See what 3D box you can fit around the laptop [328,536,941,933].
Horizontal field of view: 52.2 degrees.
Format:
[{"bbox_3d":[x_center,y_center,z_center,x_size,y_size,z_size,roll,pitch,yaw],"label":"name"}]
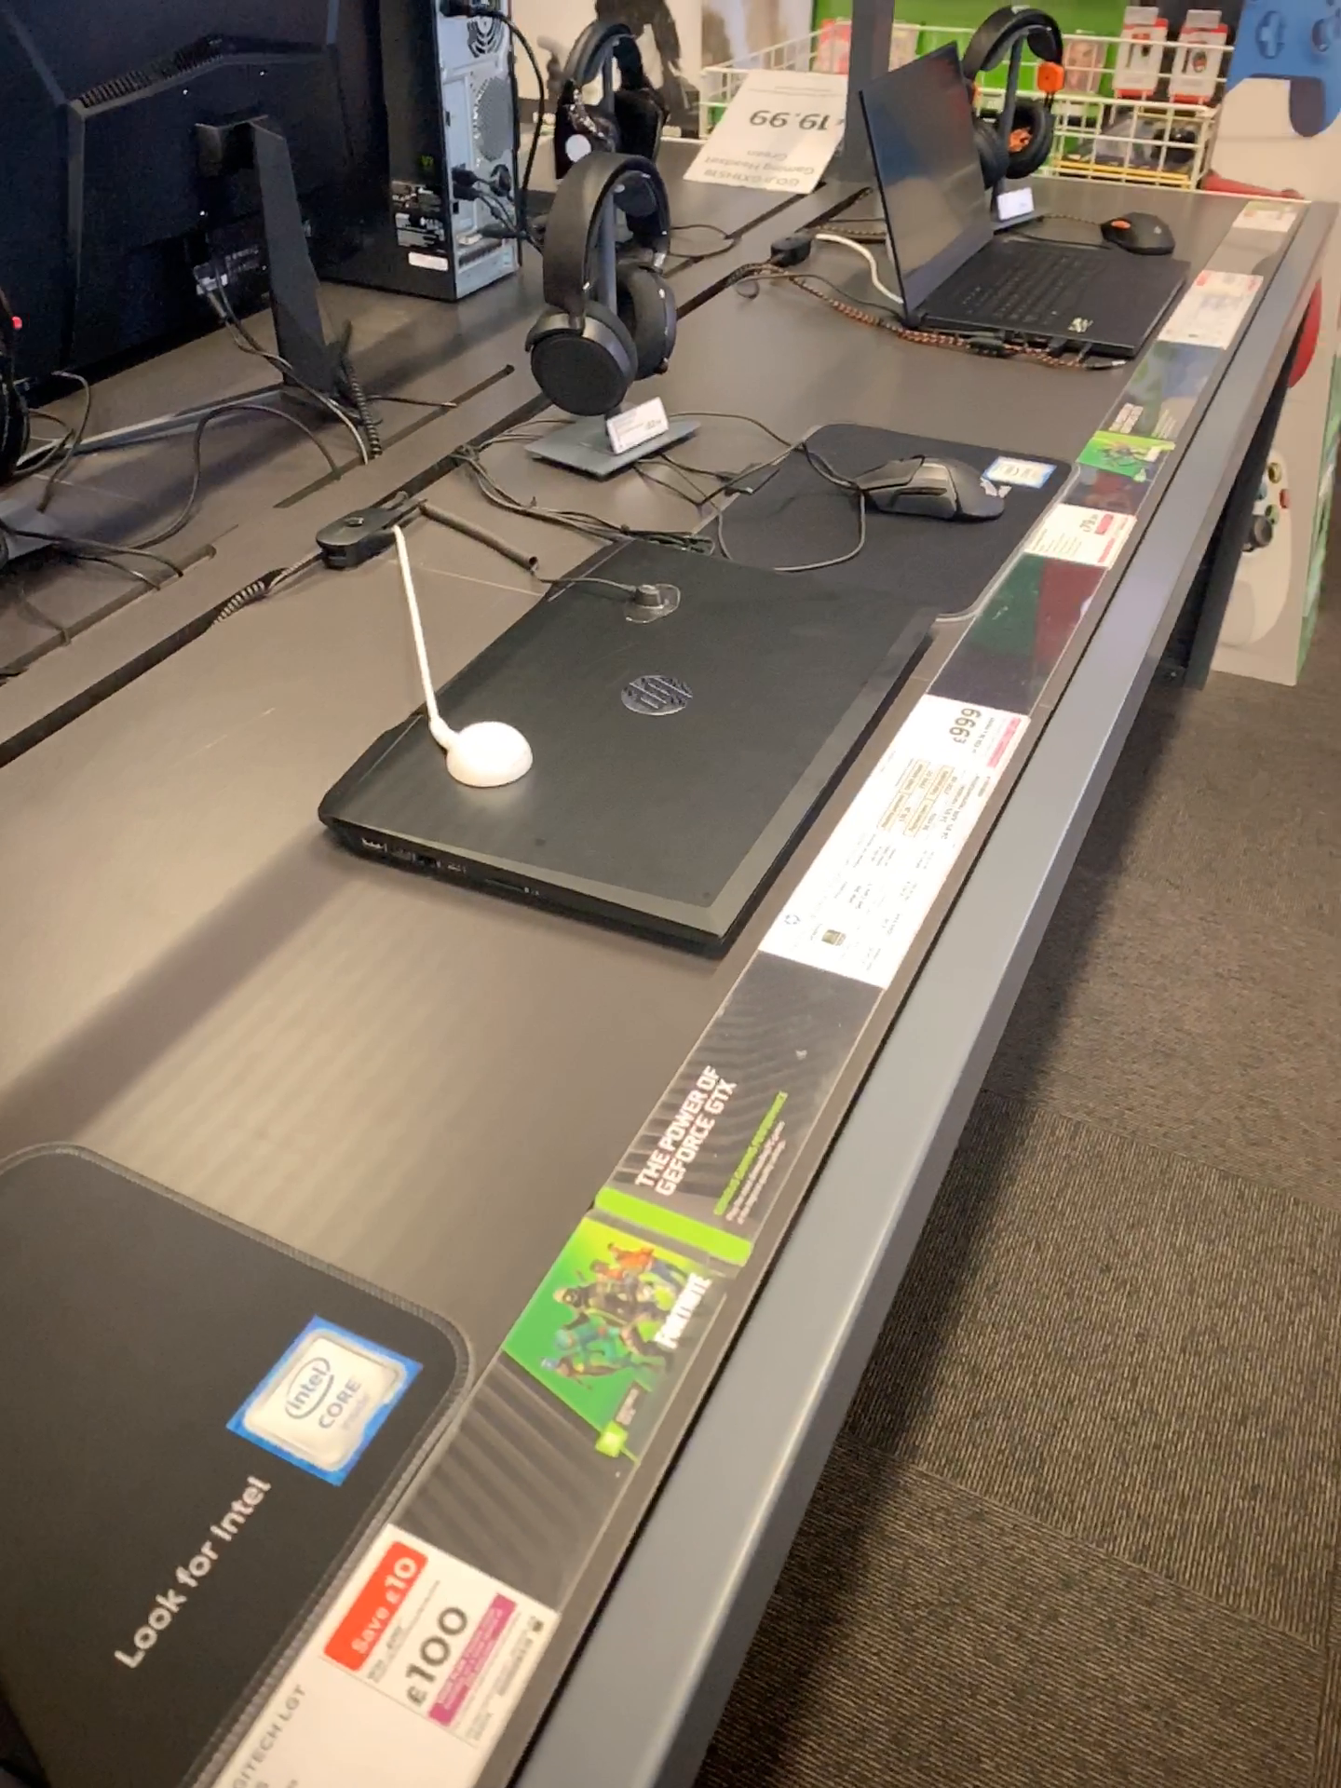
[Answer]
[{"bbox_3d":[-0.003,-0.131,0.903,0.256,0.001,0.397,17,43,20],"label":"laptop"}]
